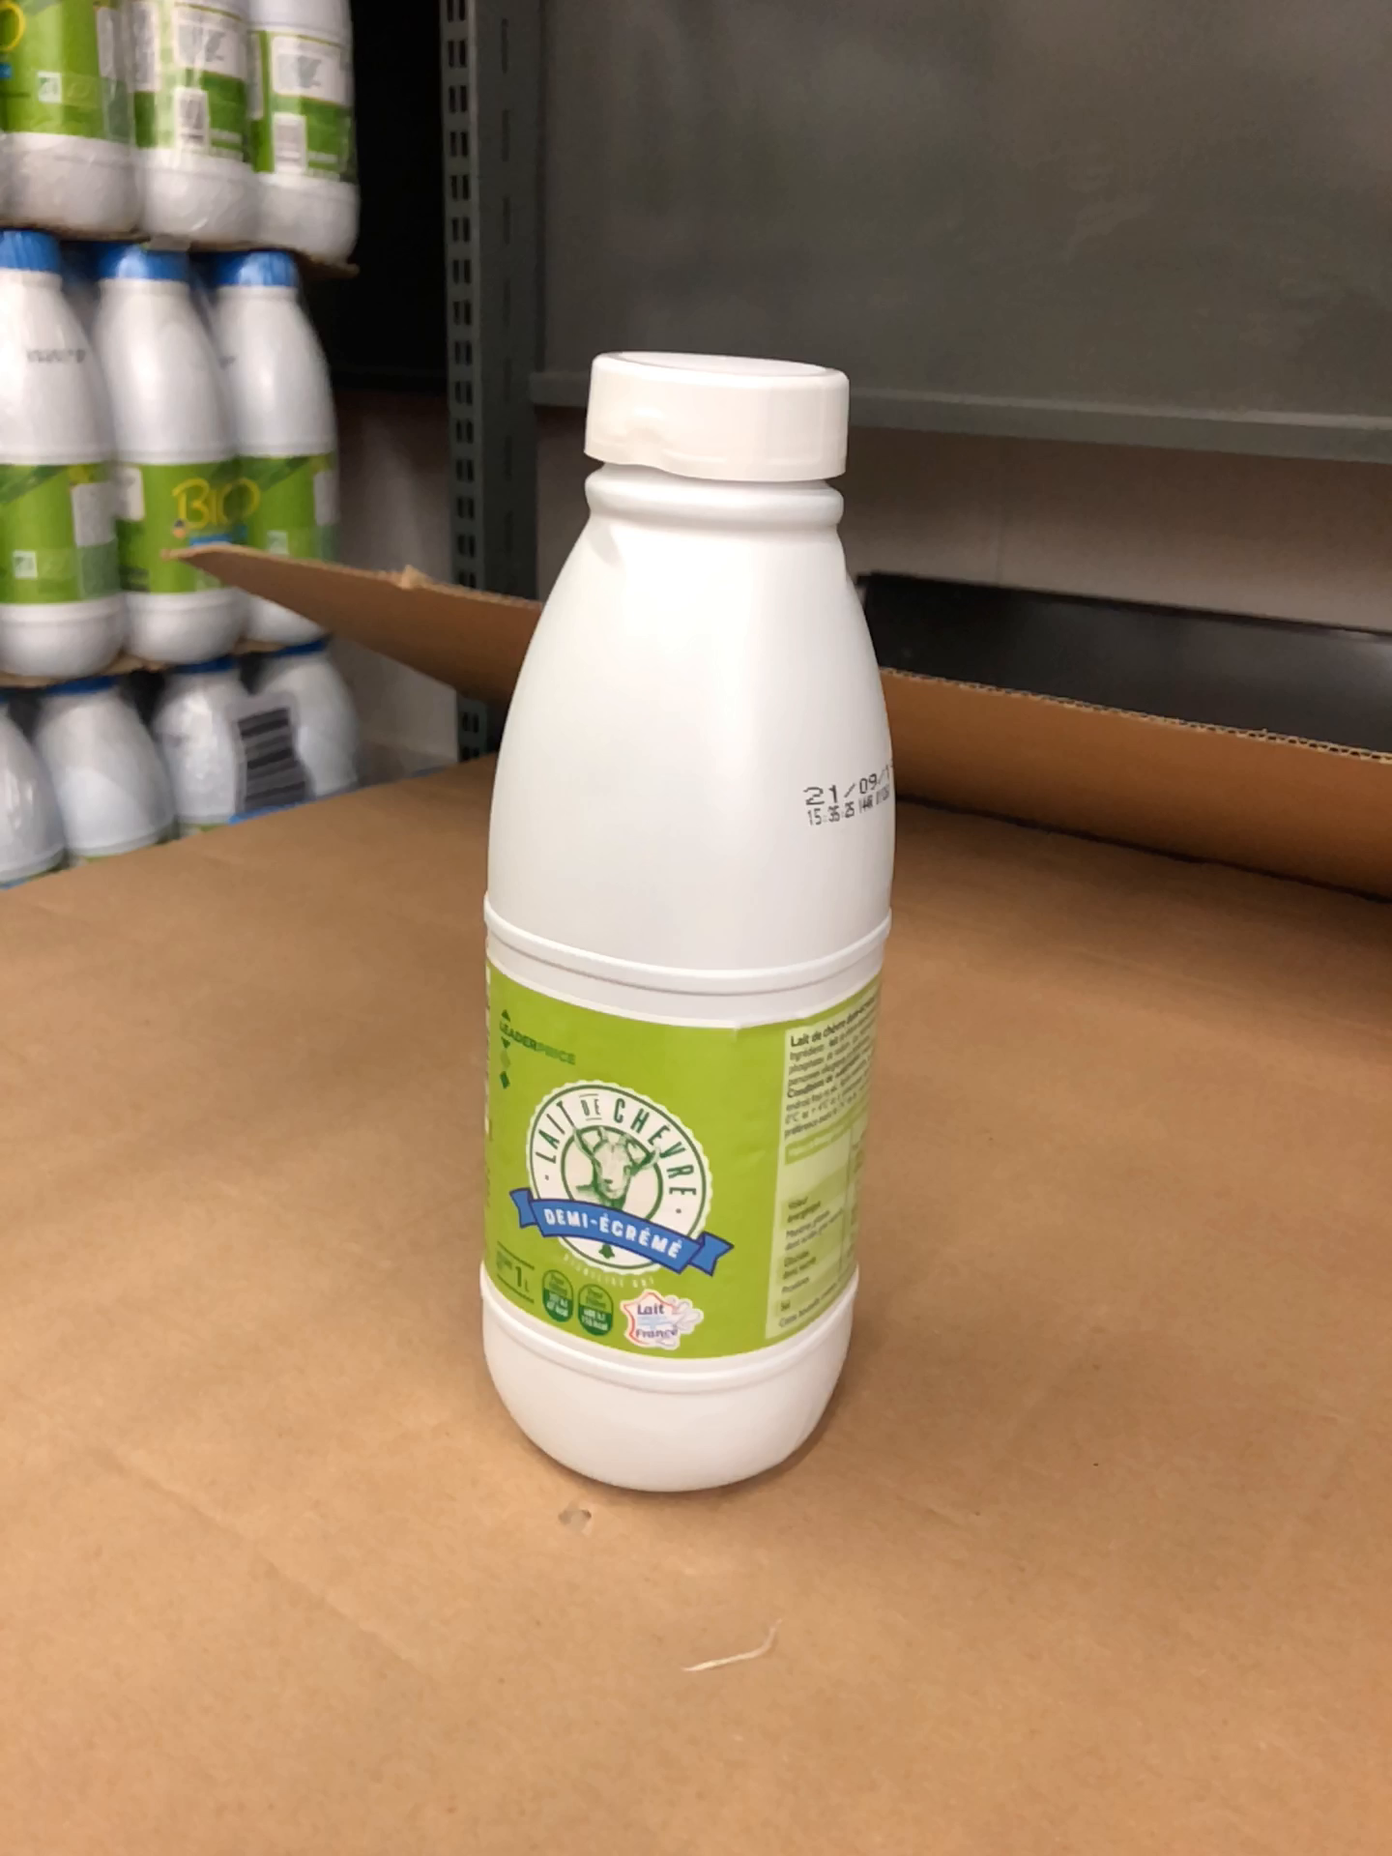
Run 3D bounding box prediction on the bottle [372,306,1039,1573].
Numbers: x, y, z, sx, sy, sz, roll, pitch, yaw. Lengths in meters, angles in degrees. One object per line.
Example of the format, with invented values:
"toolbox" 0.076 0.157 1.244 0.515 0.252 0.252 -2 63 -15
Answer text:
"bottle" 0.001 -0.001 0.328 0.100 0.239 0.080 11 22 23
